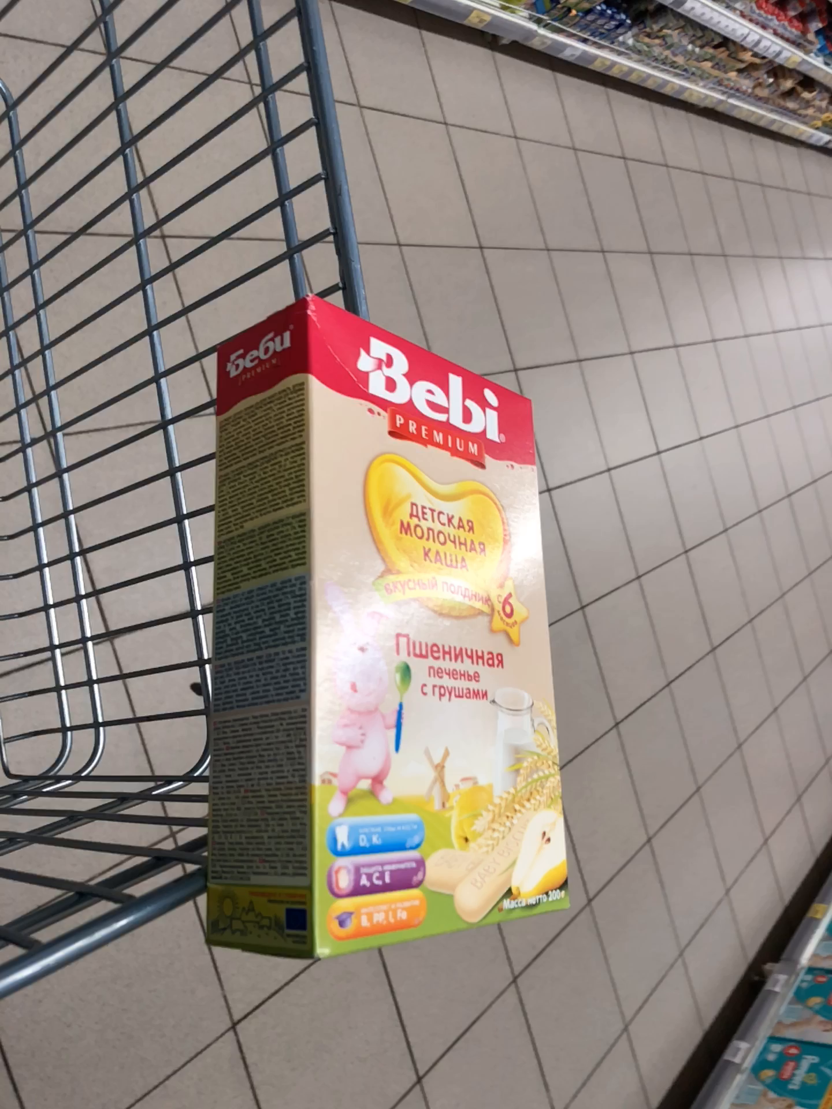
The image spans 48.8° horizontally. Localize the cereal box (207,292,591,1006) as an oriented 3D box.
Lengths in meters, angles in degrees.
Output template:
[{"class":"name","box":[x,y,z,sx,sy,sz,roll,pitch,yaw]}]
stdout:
[{"class":"cereal box","box":[-0.003,0.033,0.330,0.131,0.050,0.210,14,68,-45]}]
